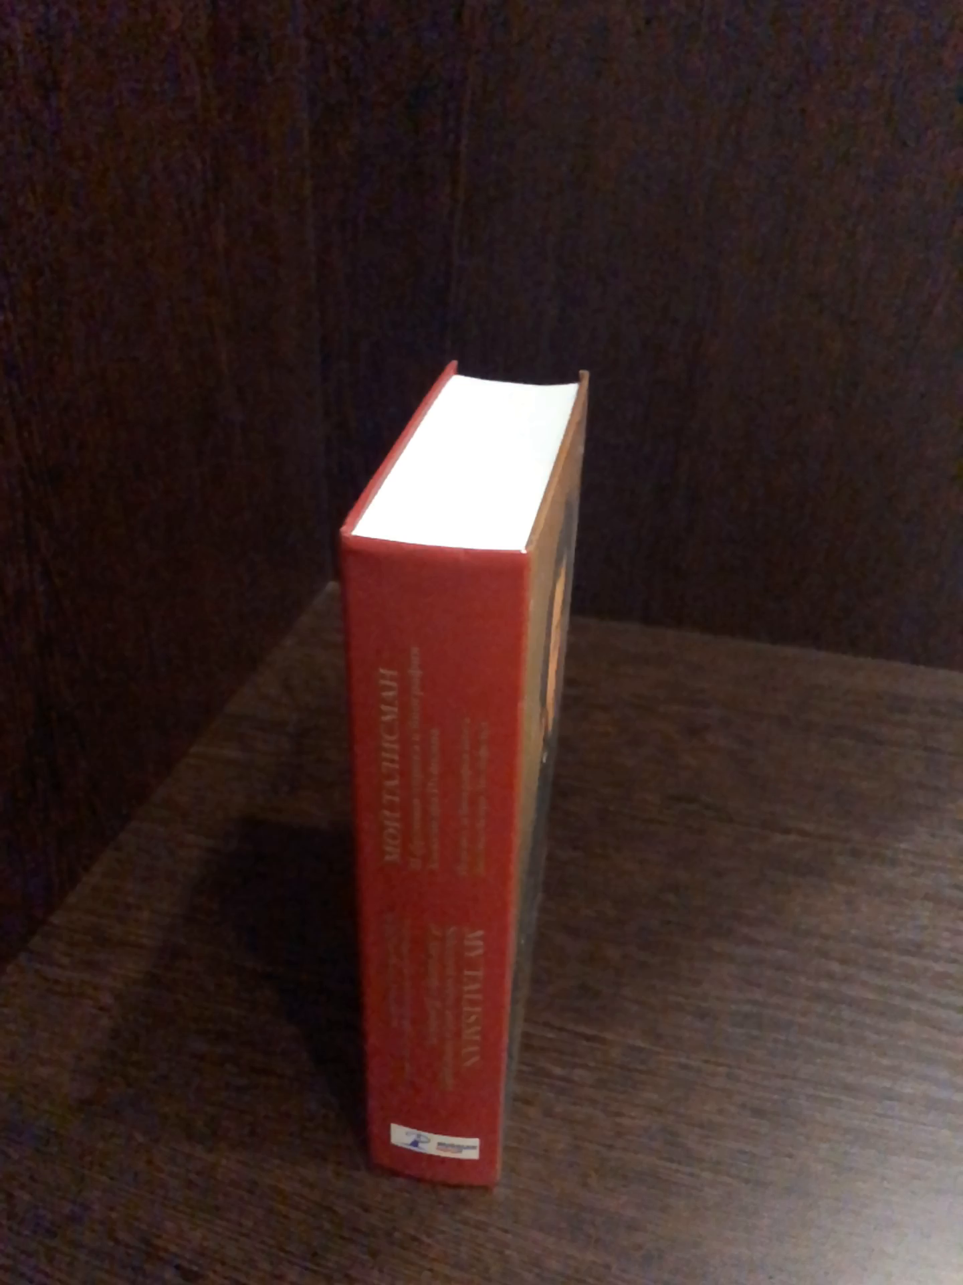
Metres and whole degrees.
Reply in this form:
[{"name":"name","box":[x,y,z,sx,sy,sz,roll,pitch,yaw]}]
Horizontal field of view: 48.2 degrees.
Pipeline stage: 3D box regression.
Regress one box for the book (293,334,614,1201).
[{"name":"book","box":[-0.005,0.031,0.312,0.054,0.201,0.138,8,30,6]}]
